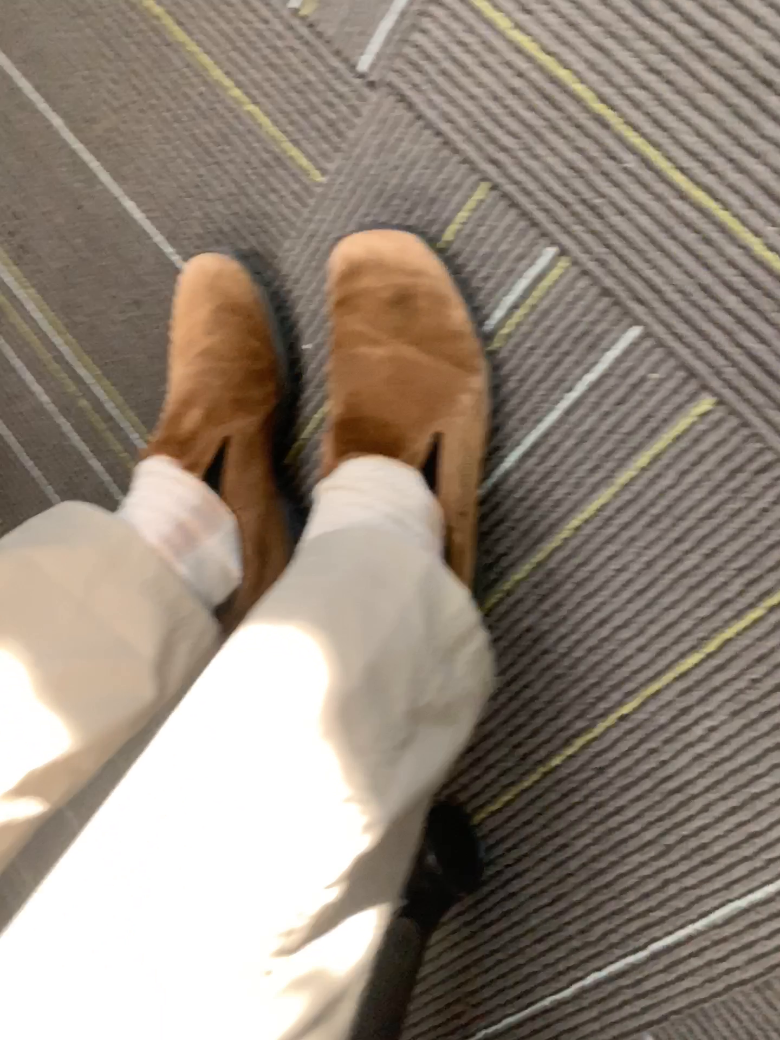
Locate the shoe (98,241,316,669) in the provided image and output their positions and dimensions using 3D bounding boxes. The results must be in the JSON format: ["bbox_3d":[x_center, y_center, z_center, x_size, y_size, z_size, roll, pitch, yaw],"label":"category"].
[{"bbox_3d":[-0.140,-0.050,0.626,0.120,0.077,0.307,5,105,33],"label":"shoe"}]

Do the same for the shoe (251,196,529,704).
[{"bbox_3d":[0.003,-0.040,0.538,0.121,0.077,0.307,-3,100,34],"label":"shoe"}]
